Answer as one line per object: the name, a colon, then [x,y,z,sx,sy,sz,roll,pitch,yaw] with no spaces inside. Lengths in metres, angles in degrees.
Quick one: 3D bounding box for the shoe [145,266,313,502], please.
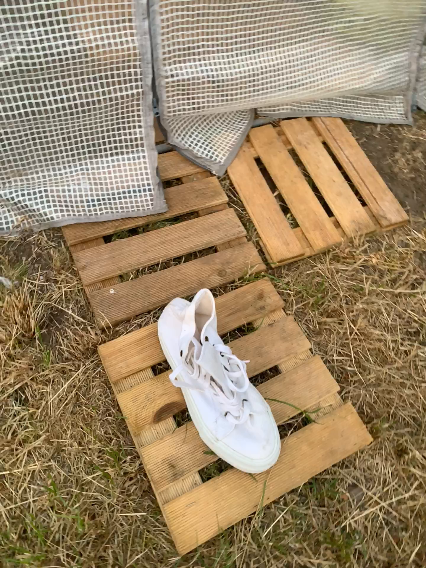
shoe: [0.006,0.126,0.579,0.100,0.129,0.262,-19,58,-17]
